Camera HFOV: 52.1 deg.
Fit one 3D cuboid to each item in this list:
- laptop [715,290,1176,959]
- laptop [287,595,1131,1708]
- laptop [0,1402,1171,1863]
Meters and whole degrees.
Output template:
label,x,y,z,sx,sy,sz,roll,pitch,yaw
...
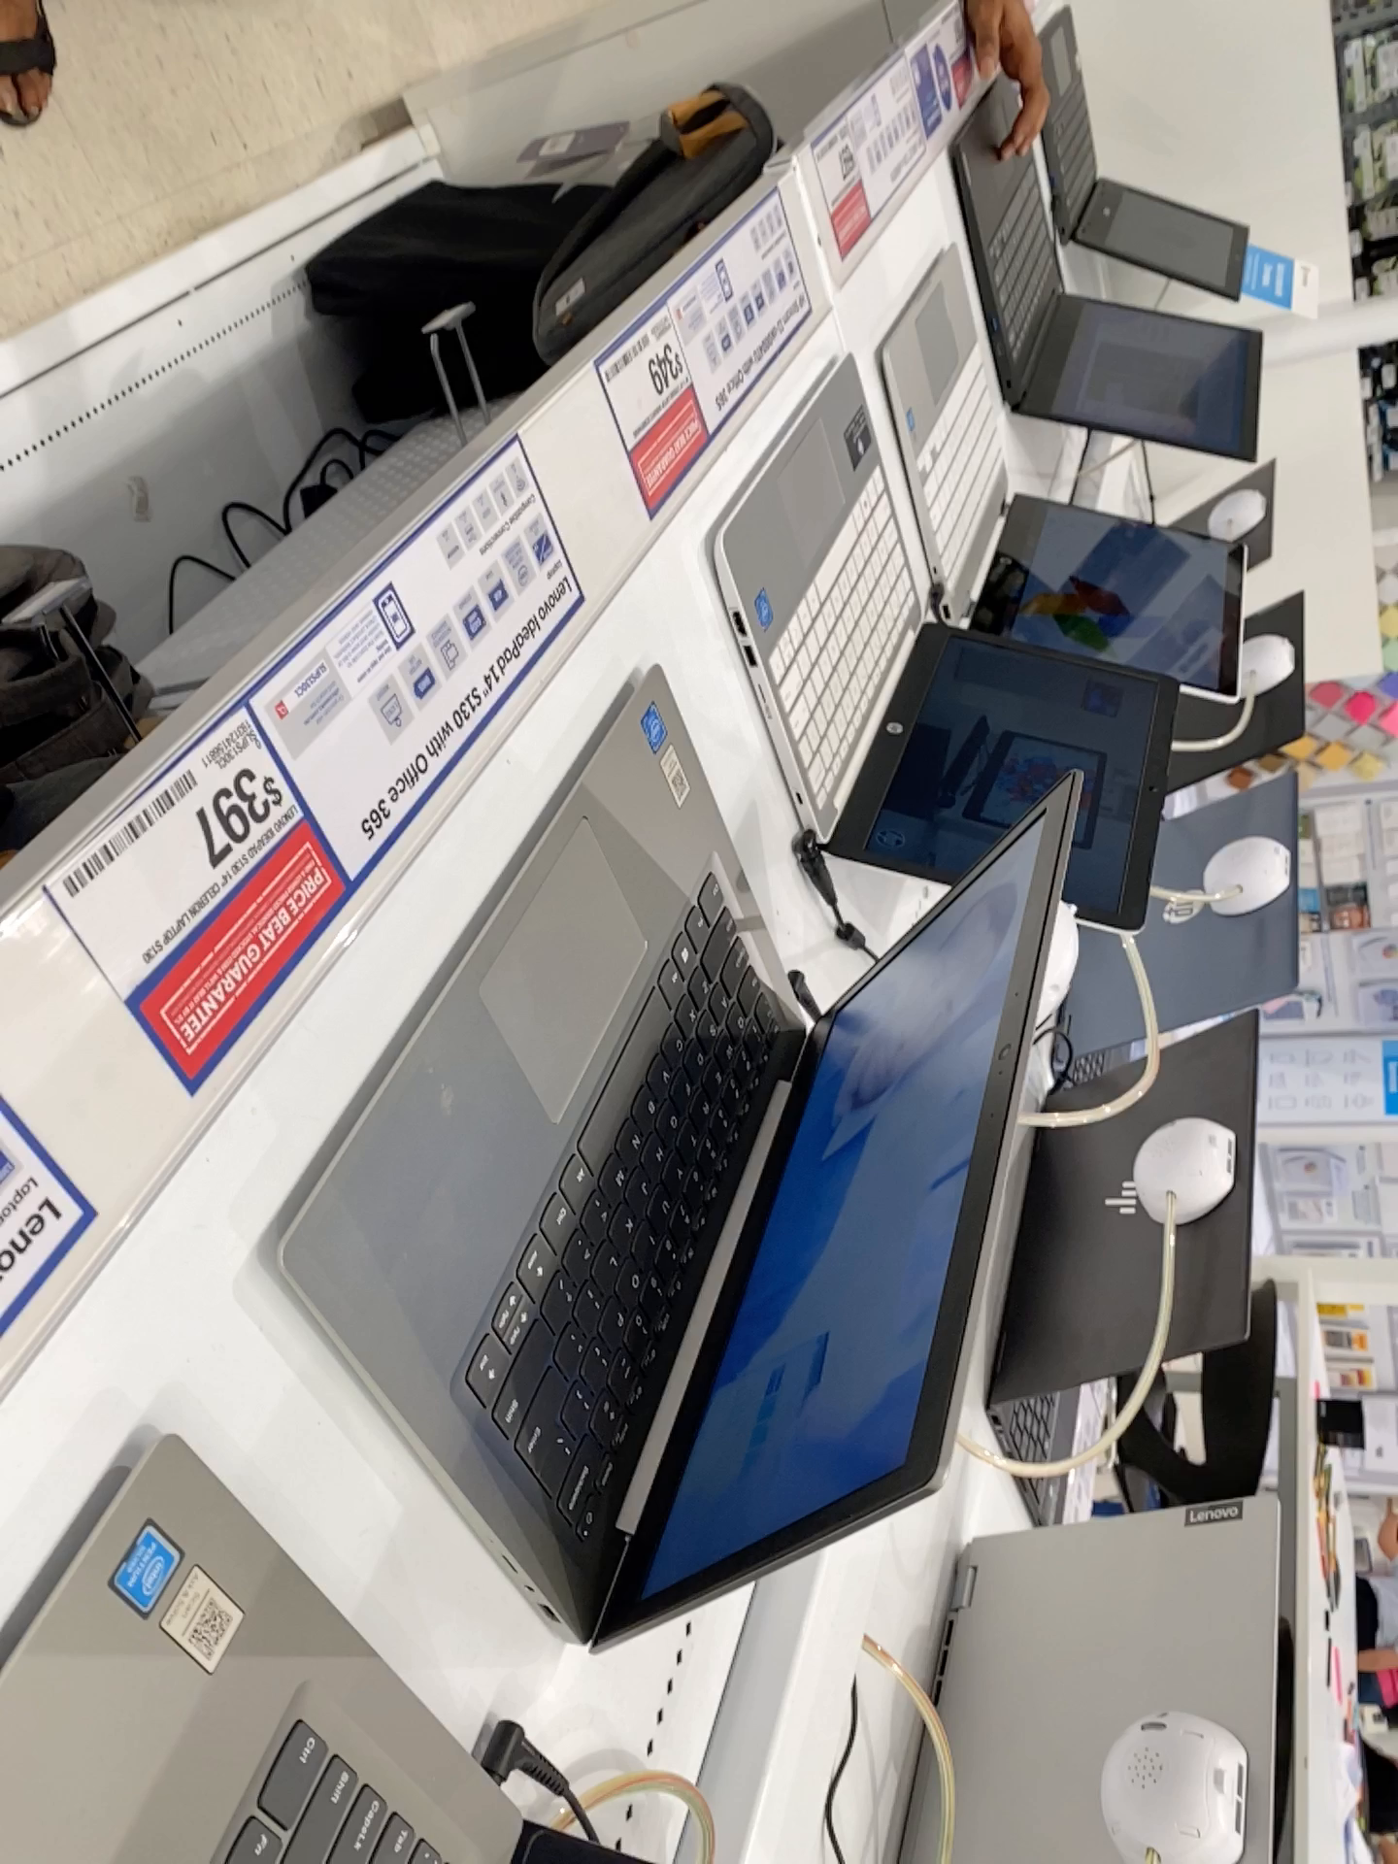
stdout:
label,x,y,z,sx,sy,sz,roll,pitch,yaw
laptop,0.176,-0.187,0.872,0.285,0.155,0.305,66,32,-32
laptop,0.046,0.067,0.558,0.231,0.171,0.330,67,33,-34
laptop,-0.044,0.347,0.299,0.310,0.215,0.330,68,31,-33
